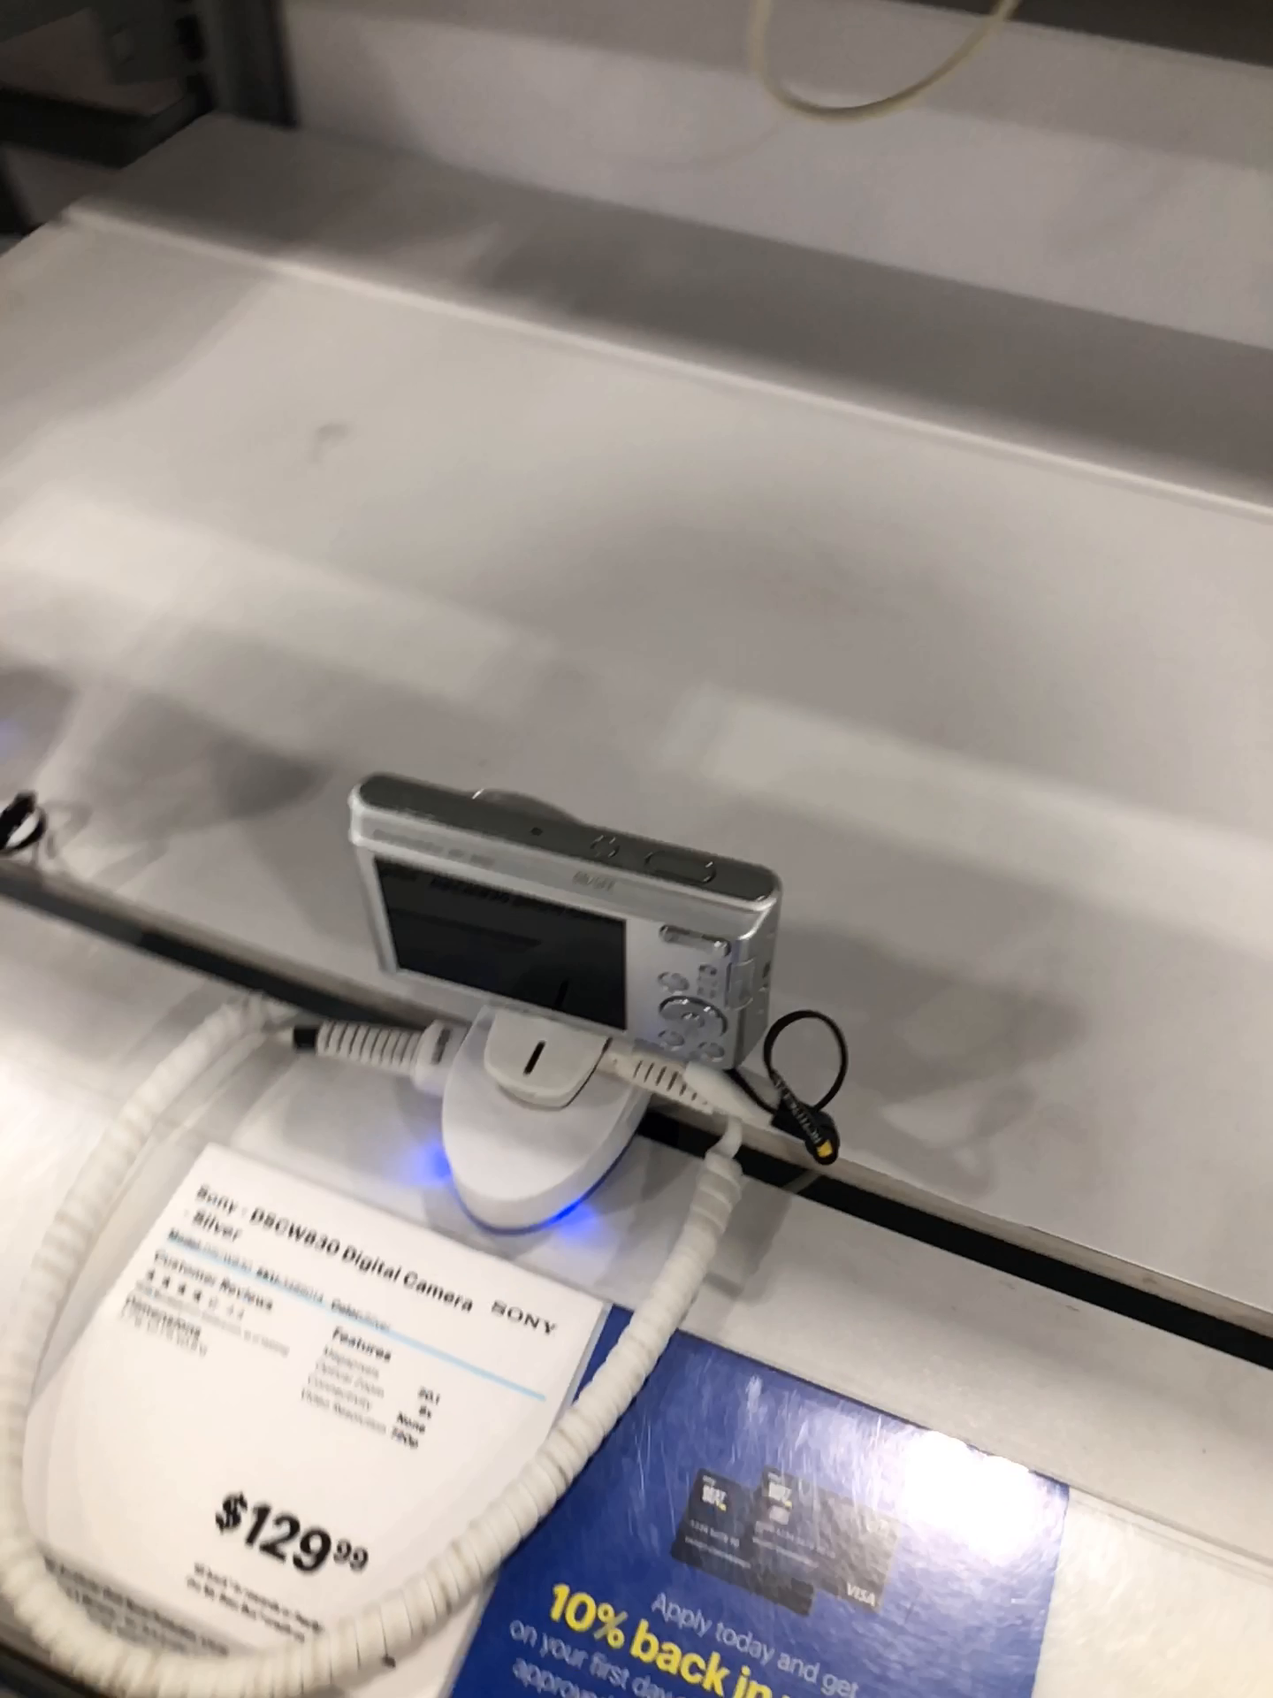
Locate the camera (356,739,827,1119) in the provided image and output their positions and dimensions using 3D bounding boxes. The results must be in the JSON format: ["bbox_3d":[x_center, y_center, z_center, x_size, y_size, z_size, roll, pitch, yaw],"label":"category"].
[{"bbox_3d":[-0.010,0.019,0.302,0.090,0.070,0.020,15,50,11],"label":"camera"}]
